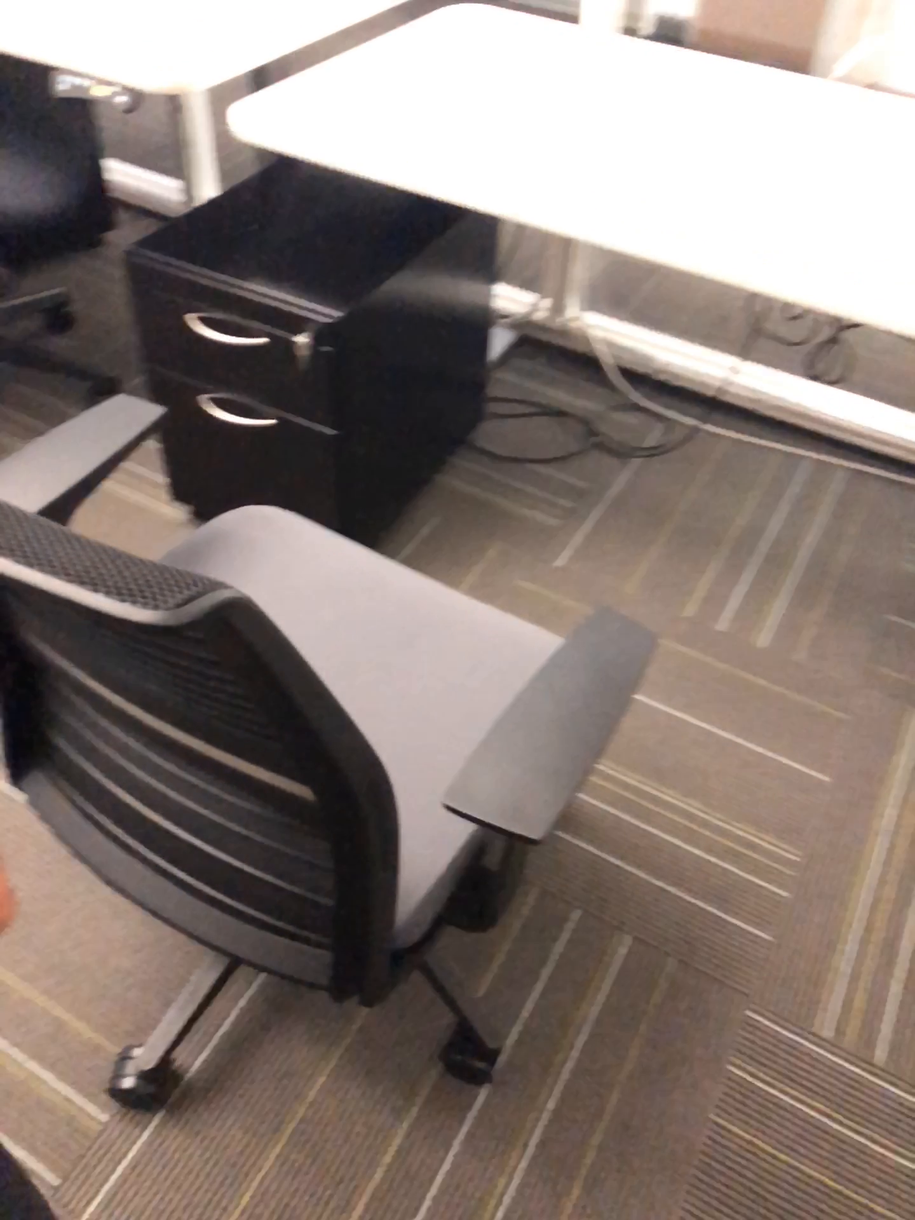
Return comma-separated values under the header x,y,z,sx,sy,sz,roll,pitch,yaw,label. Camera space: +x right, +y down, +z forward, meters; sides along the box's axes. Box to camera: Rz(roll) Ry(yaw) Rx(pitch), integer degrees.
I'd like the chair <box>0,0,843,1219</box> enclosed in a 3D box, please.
x,y,z,sx,sy,sz,roll,pitch,yaw,label
-0.185,0.023,1.031,0.721,0.906,0.682,22,48,18,chair
